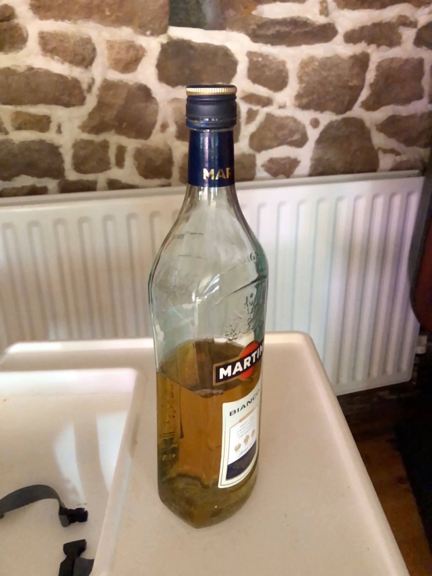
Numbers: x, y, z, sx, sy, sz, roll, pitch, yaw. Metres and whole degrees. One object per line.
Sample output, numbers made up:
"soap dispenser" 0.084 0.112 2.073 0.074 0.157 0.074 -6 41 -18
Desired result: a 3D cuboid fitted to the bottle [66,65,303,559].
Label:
"bottle" -0.010 0.020 0.336 0.080 0.318 0.111 19 32 38
